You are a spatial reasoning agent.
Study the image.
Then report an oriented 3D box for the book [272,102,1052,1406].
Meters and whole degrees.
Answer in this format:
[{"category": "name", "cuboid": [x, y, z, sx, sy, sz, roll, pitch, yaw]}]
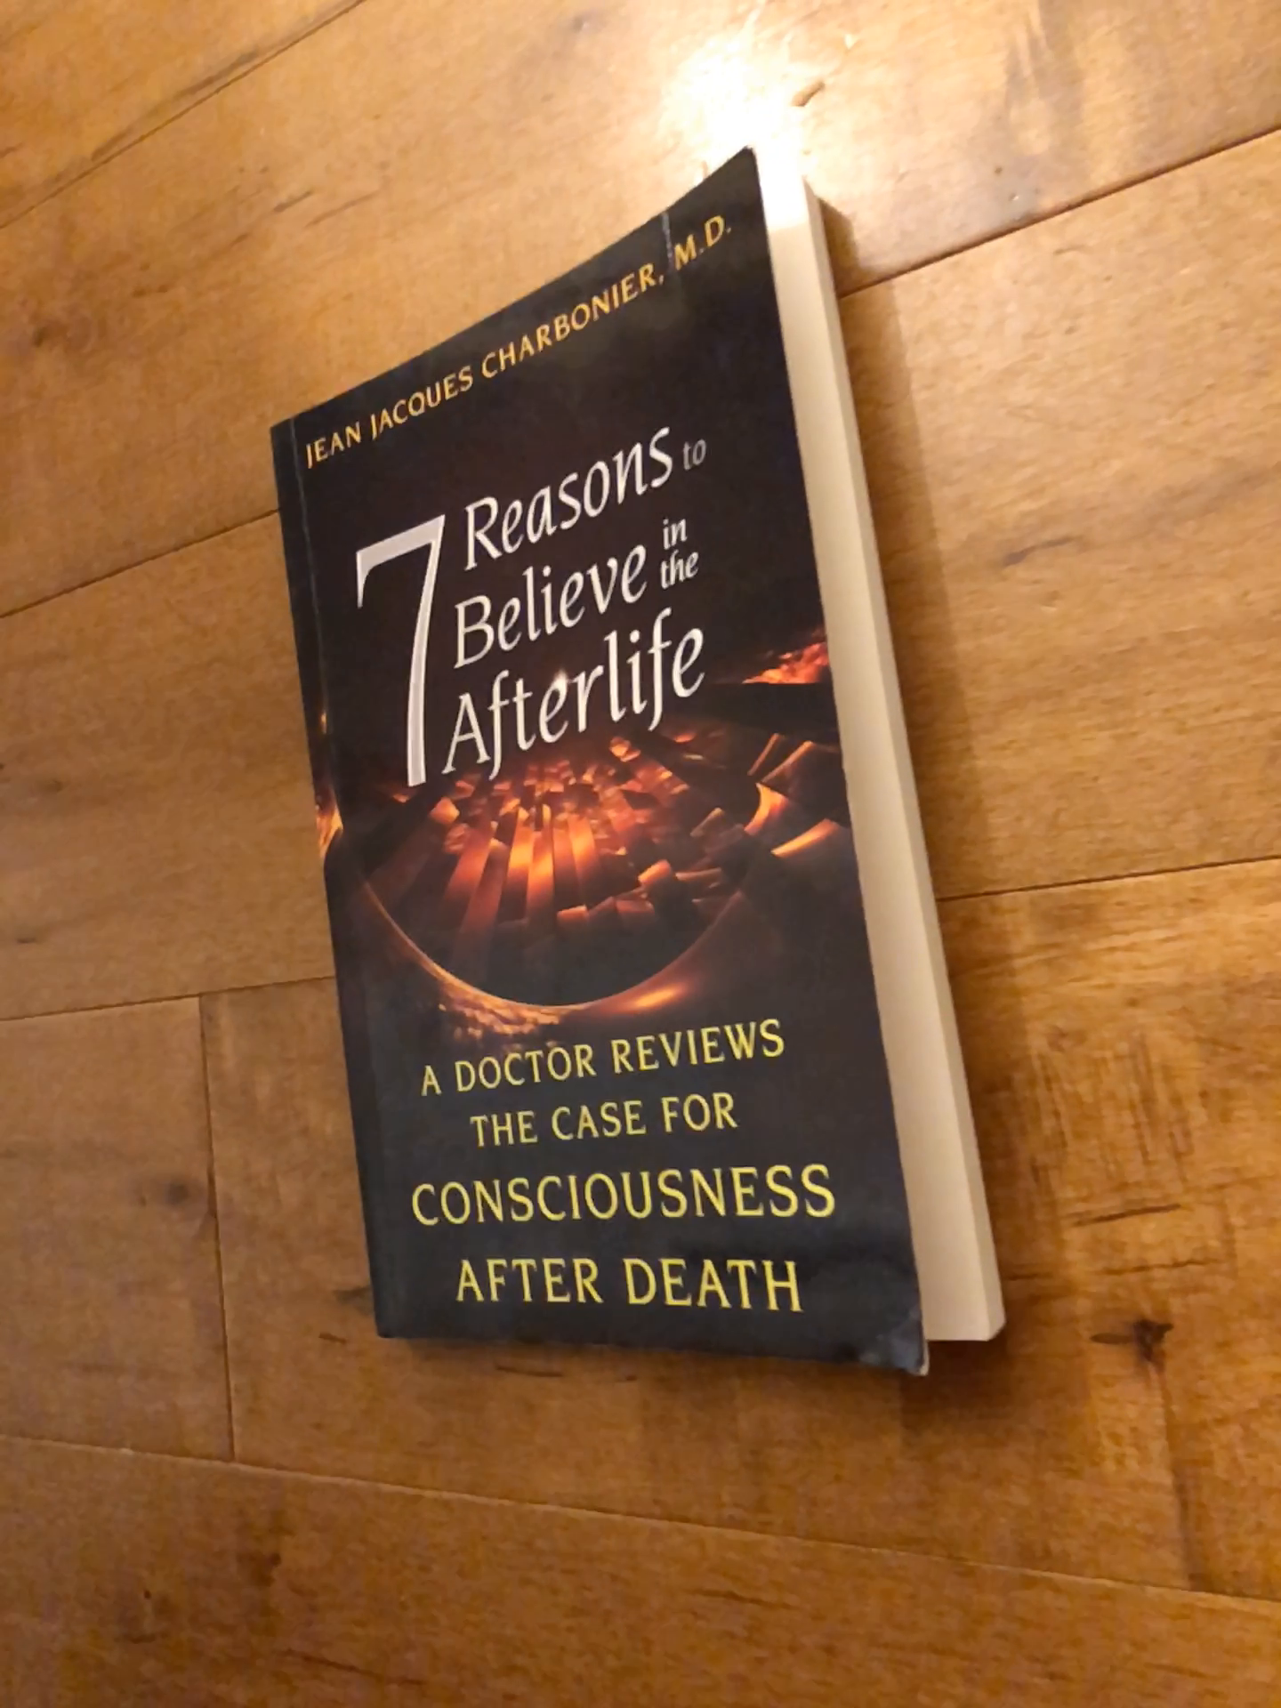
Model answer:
[{"category": "book", "cuboid": [-0.011, -0.011, 0.329, 0.171, 0.030, 0.250, -13, 81, 39]}]
